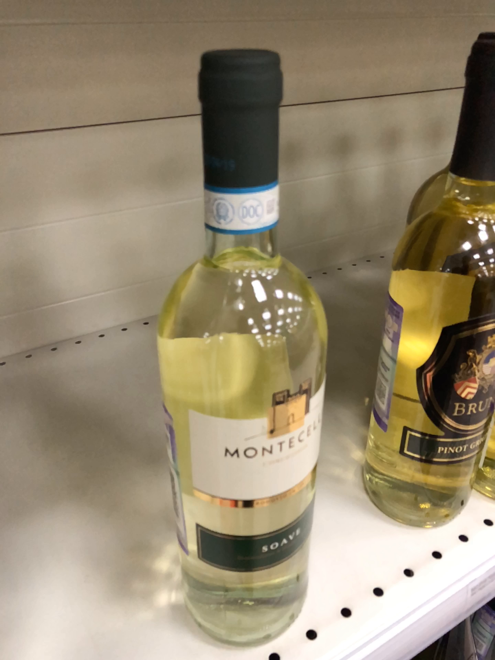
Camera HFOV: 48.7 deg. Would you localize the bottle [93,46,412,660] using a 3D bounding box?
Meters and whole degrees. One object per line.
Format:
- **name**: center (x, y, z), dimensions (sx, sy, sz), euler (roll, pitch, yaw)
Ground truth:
- **bottle**: center (0.000, 0.032, 0.252), dimensions (0.080, 0.284, 0.070), euler (-19, 35, -30)
